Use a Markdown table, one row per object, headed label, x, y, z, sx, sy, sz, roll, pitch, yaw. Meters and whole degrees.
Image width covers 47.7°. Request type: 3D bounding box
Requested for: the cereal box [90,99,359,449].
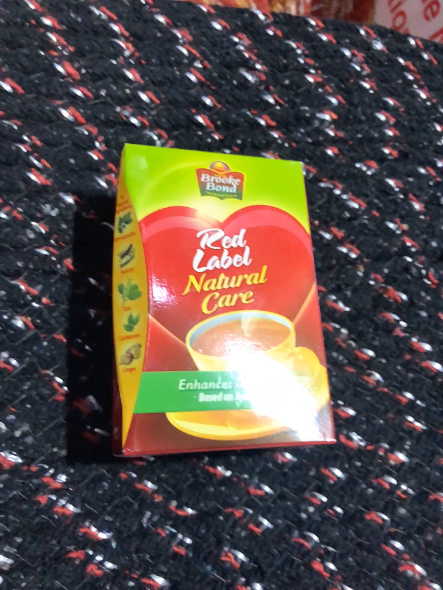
| label | x | y | z | sx | sy | sz | roll | pitch | yaw |
| --- | --- | --- | --- | --- | --- | --- | --- | --- | --- |
| cereal box | -0.003 | -0.004 | 0.180 | 0.080 | 0.040 | 0.110 | 2 | 73 | -19 |
